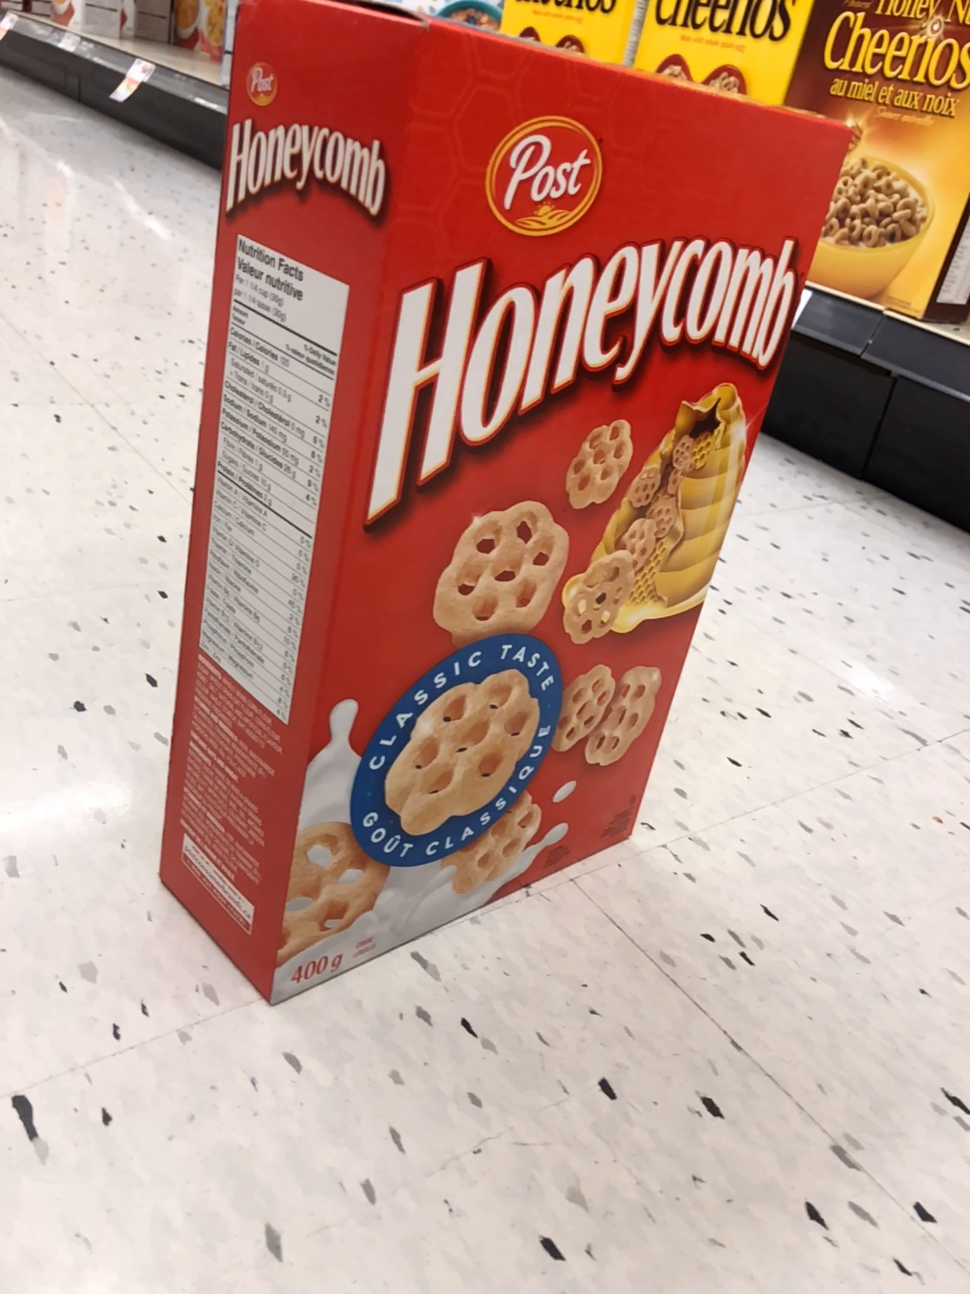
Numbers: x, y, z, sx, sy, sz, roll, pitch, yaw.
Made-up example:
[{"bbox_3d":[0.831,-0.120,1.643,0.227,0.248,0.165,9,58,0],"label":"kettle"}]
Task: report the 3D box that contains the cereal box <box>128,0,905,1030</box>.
[{"bbox_3d":[0.002,-0.045,0.377,0.211,0.298,0.090,-14,38,-42],"label":"cereal box"}]
